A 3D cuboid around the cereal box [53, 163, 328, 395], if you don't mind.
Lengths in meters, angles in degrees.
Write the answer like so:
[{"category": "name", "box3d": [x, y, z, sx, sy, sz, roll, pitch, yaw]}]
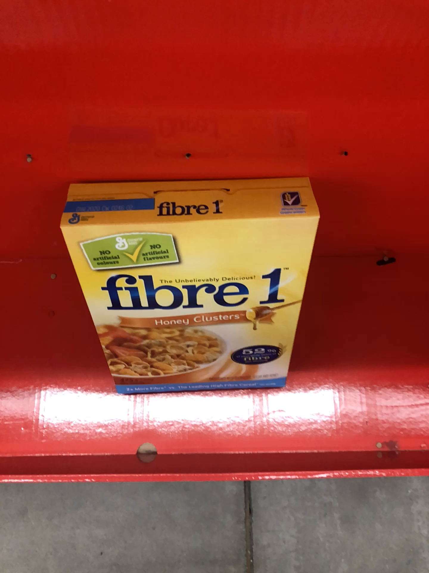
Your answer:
[{"category": "cereal box", "box3d": [-0.017, 0.012, 0.480, 0.210, 0.269, 0.060, -2, 48, -1]}]
